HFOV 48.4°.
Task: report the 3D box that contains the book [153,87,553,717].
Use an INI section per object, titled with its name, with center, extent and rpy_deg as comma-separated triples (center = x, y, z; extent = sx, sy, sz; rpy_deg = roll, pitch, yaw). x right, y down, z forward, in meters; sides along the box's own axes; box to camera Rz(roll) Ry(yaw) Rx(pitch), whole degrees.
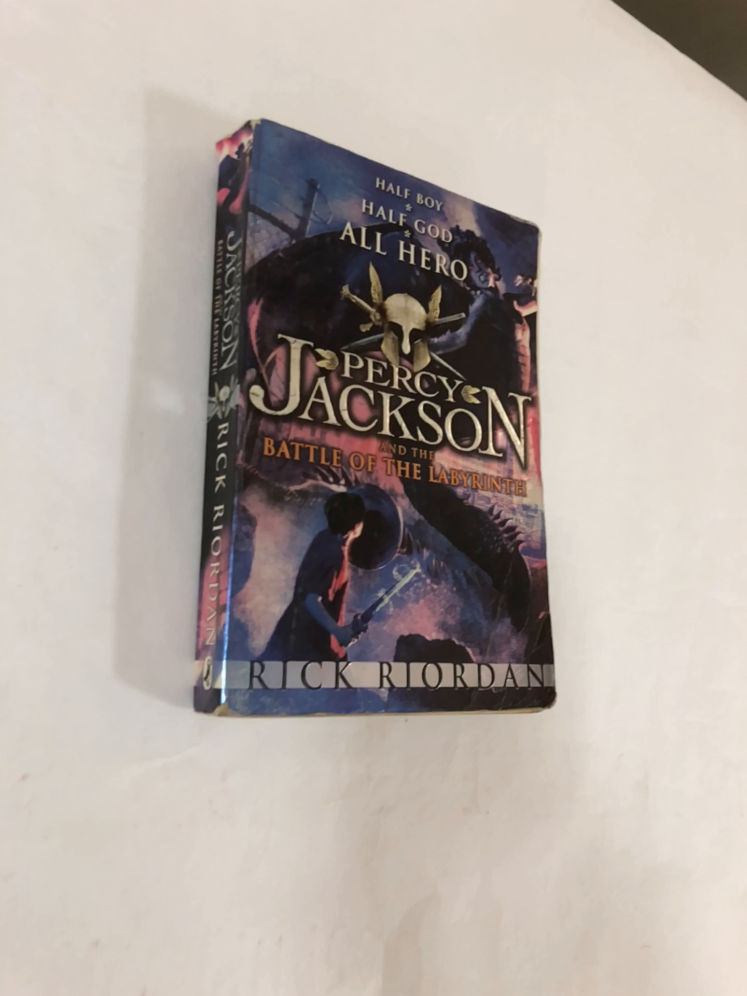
[book]
center = -0.002, -0.024, 0.292
extent = 0.130, 0.040, 0.190
rpy_deg = 8, 76, -33
